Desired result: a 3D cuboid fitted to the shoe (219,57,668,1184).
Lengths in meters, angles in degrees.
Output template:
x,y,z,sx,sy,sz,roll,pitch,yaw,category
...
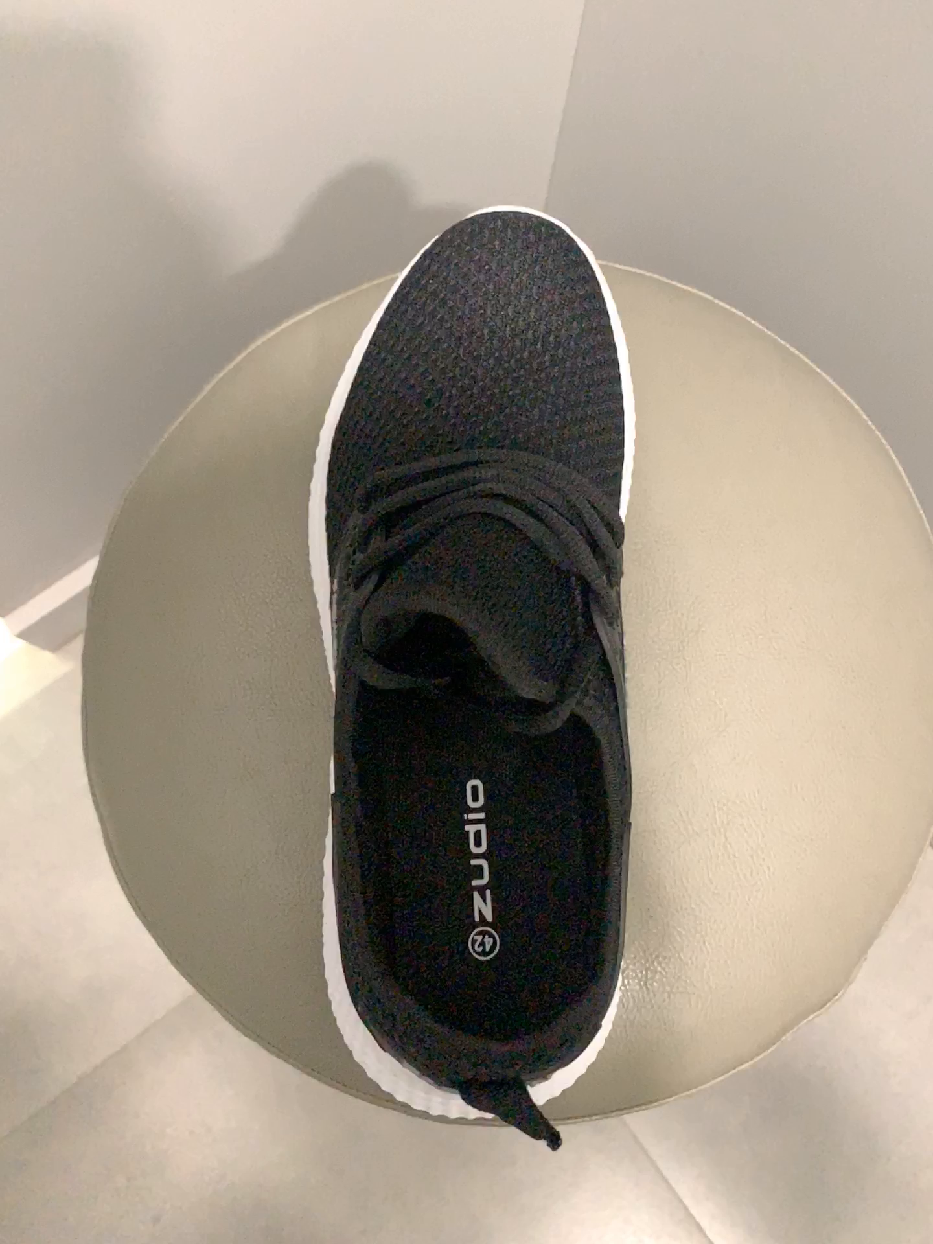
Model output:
x,y,z,sx,sy,sz,roll,pitch,yaw,category
-0.001,-0.005,0.301,0.100,0.110,0.290,3,79,-1,shoe
